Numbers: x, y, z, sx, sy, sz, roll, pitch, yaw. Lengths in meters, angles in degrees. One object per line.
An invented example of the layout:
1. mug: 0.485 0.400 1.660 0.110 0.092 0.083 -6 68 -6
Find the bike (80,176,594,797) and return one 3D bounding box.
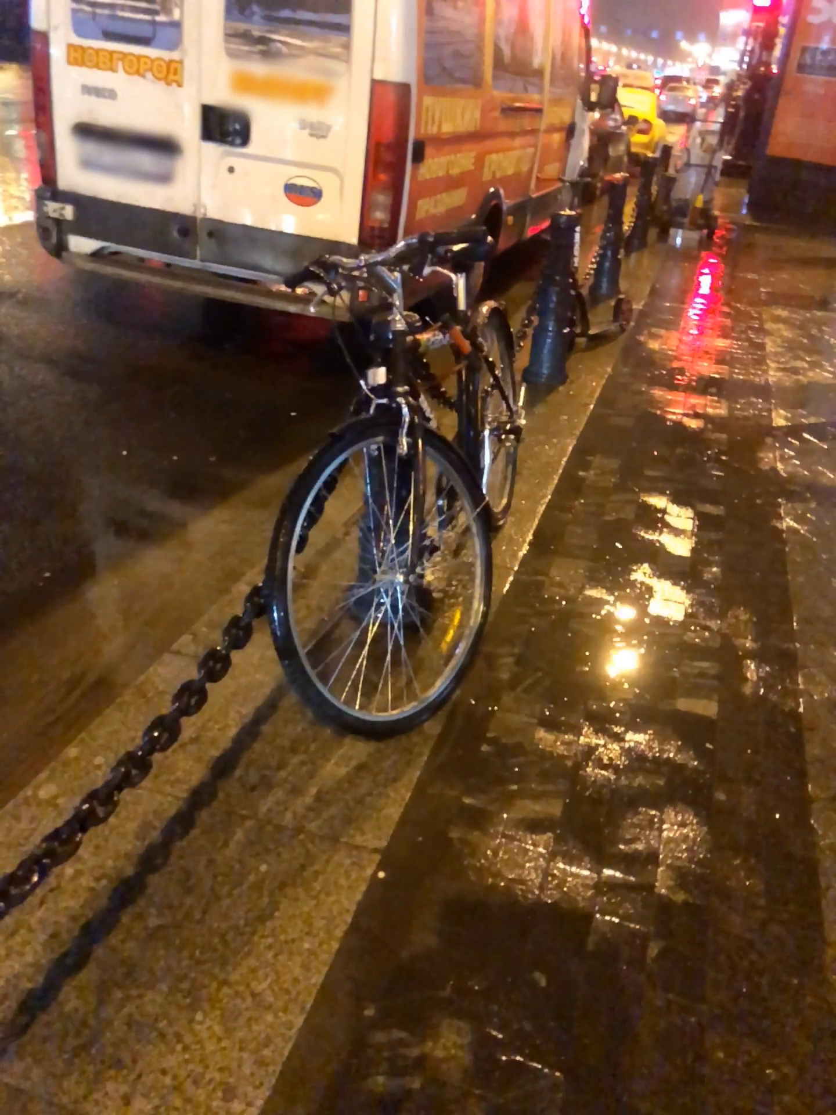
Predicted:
1. bike: -0.043 -0.391 2.386 0.553 0.961 1.758 13 29 16
